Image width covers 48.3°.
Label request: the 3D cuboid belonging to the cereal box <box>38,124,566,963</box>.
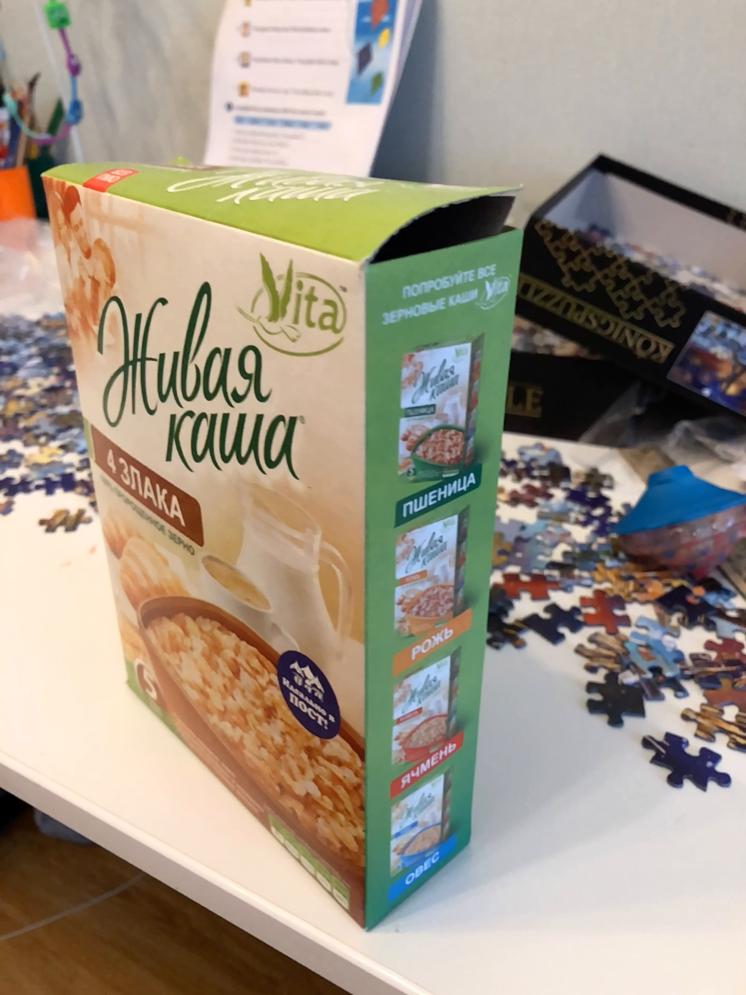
[{"bbox_3d":[-0.027,0.009,0.249,0.050,0.209,0.140,-24,37,-36],"label":"cereal box"}]
